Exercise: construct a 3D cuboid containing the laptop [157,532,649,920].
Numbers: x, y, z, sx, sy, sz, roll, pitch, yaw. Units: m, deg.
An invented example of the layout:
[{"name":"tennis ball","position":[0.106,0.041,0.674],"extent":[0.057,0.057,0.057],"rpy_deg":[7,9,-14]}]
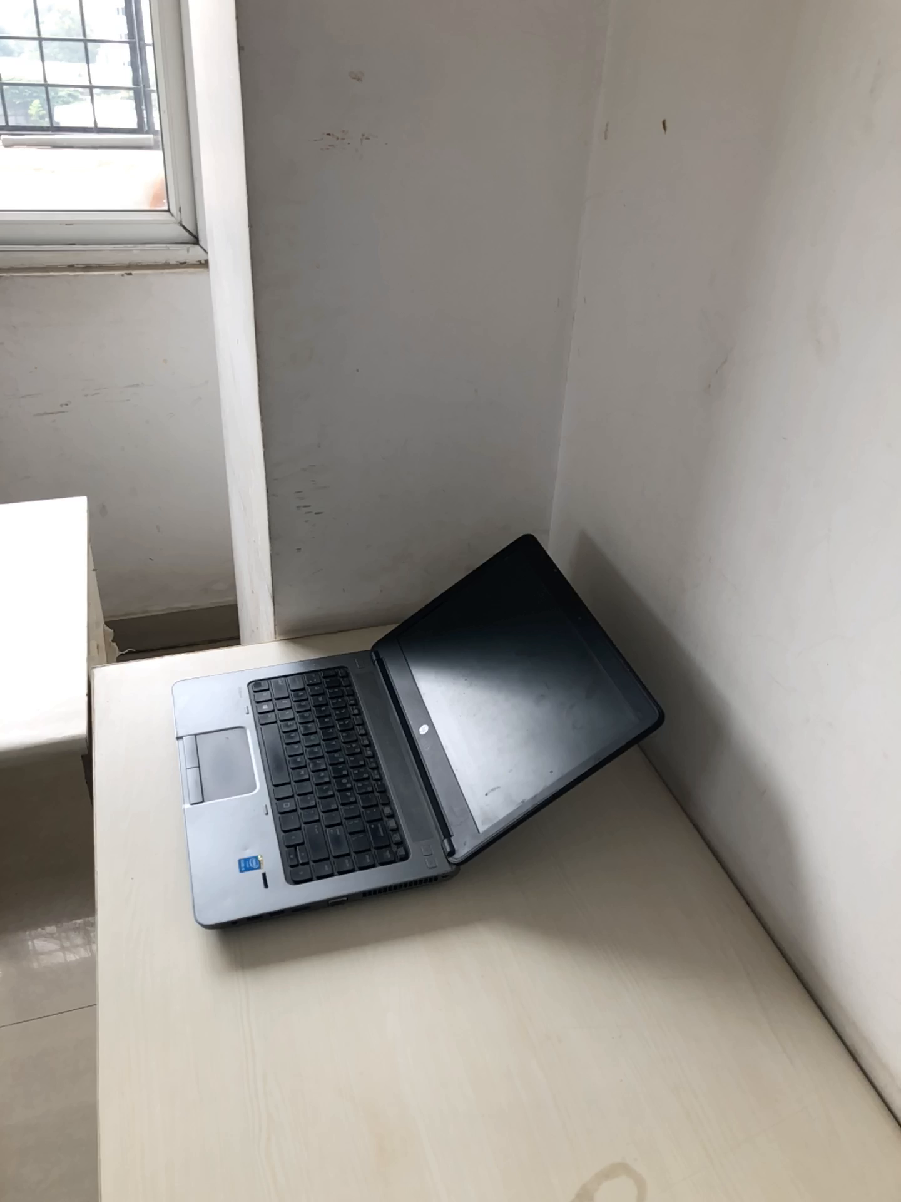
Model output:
[{"name":"laptop","position":[-0.069,0.098,0.995],"extent":[0.405,0.137,0.329],"rpy_deg":[-8,36,-15]}]
